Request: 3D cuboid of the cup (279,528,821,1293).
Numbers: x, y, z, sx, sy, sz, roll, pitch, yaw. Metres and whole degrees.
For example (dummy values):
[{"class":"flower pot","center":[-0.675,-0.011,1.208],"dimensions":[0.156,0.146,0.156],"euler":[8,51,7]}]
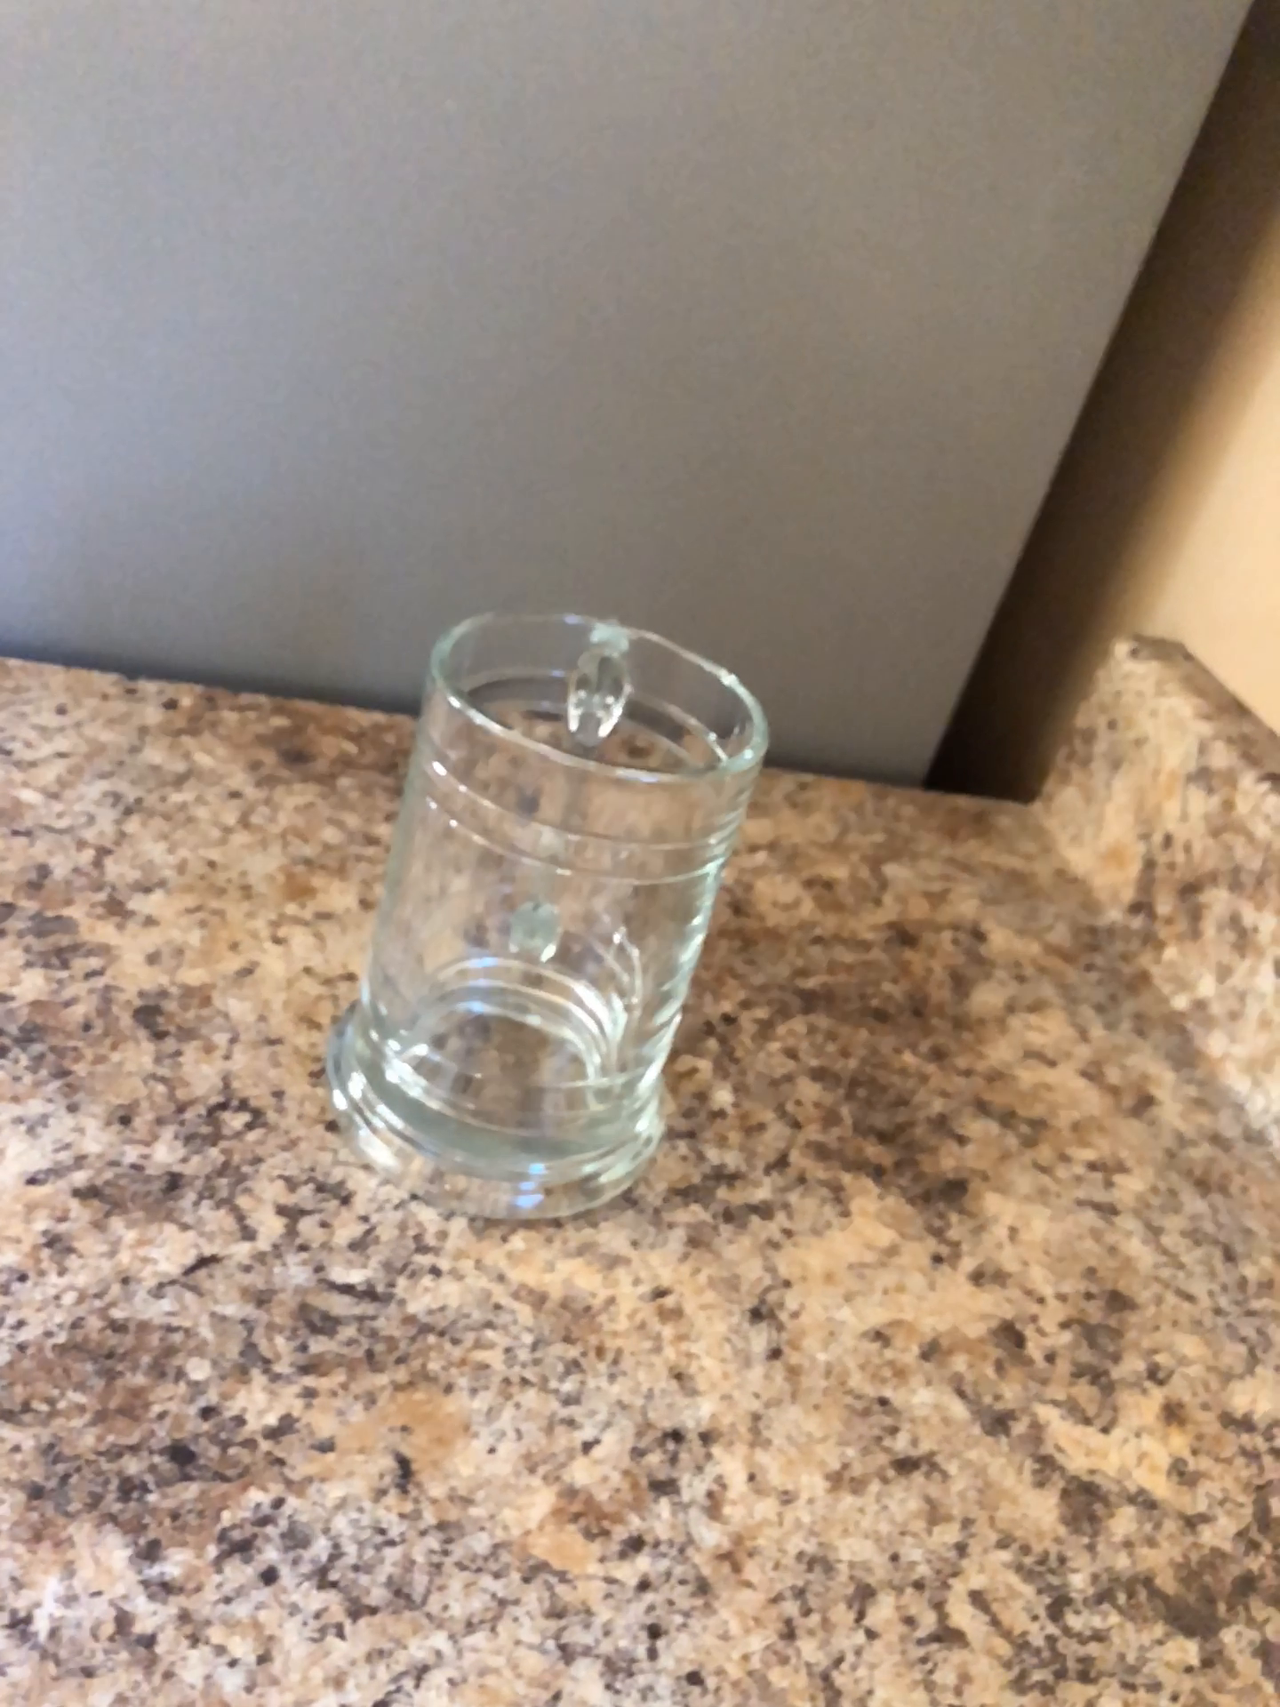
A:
[{"class":"cup","center":[-0.020,0.011,0.392],"dimensions":[0.100,0.139,0.131],"euler":[16,31,-2]}]
